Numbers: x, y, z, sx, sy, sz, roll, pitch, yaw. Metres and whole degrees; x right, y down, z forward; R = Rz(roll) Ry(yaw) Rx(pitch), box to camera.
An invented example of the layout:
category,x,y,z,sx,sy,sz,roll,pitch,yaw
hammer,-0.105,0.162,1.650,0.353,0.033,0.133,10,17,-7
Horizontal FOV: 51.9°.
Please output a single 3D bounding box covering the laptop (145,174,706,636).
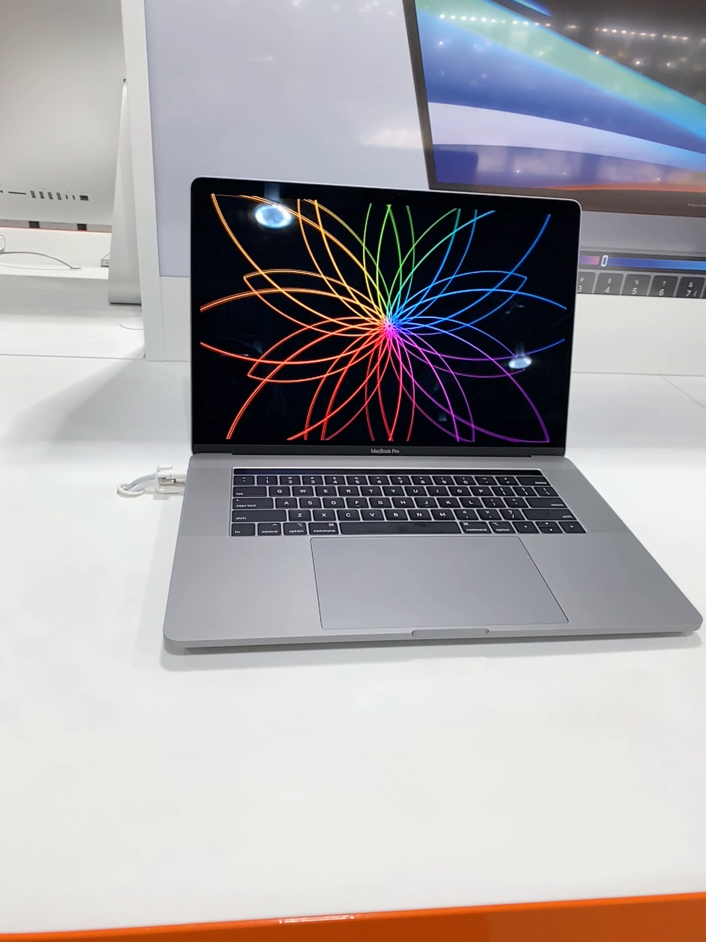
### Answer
category,x,y,z,sx,sy,sz,roll,pitch,yaw
laptop,0.047,-0.069,0.515,0.330,0.205,0.304,1,28,-9
